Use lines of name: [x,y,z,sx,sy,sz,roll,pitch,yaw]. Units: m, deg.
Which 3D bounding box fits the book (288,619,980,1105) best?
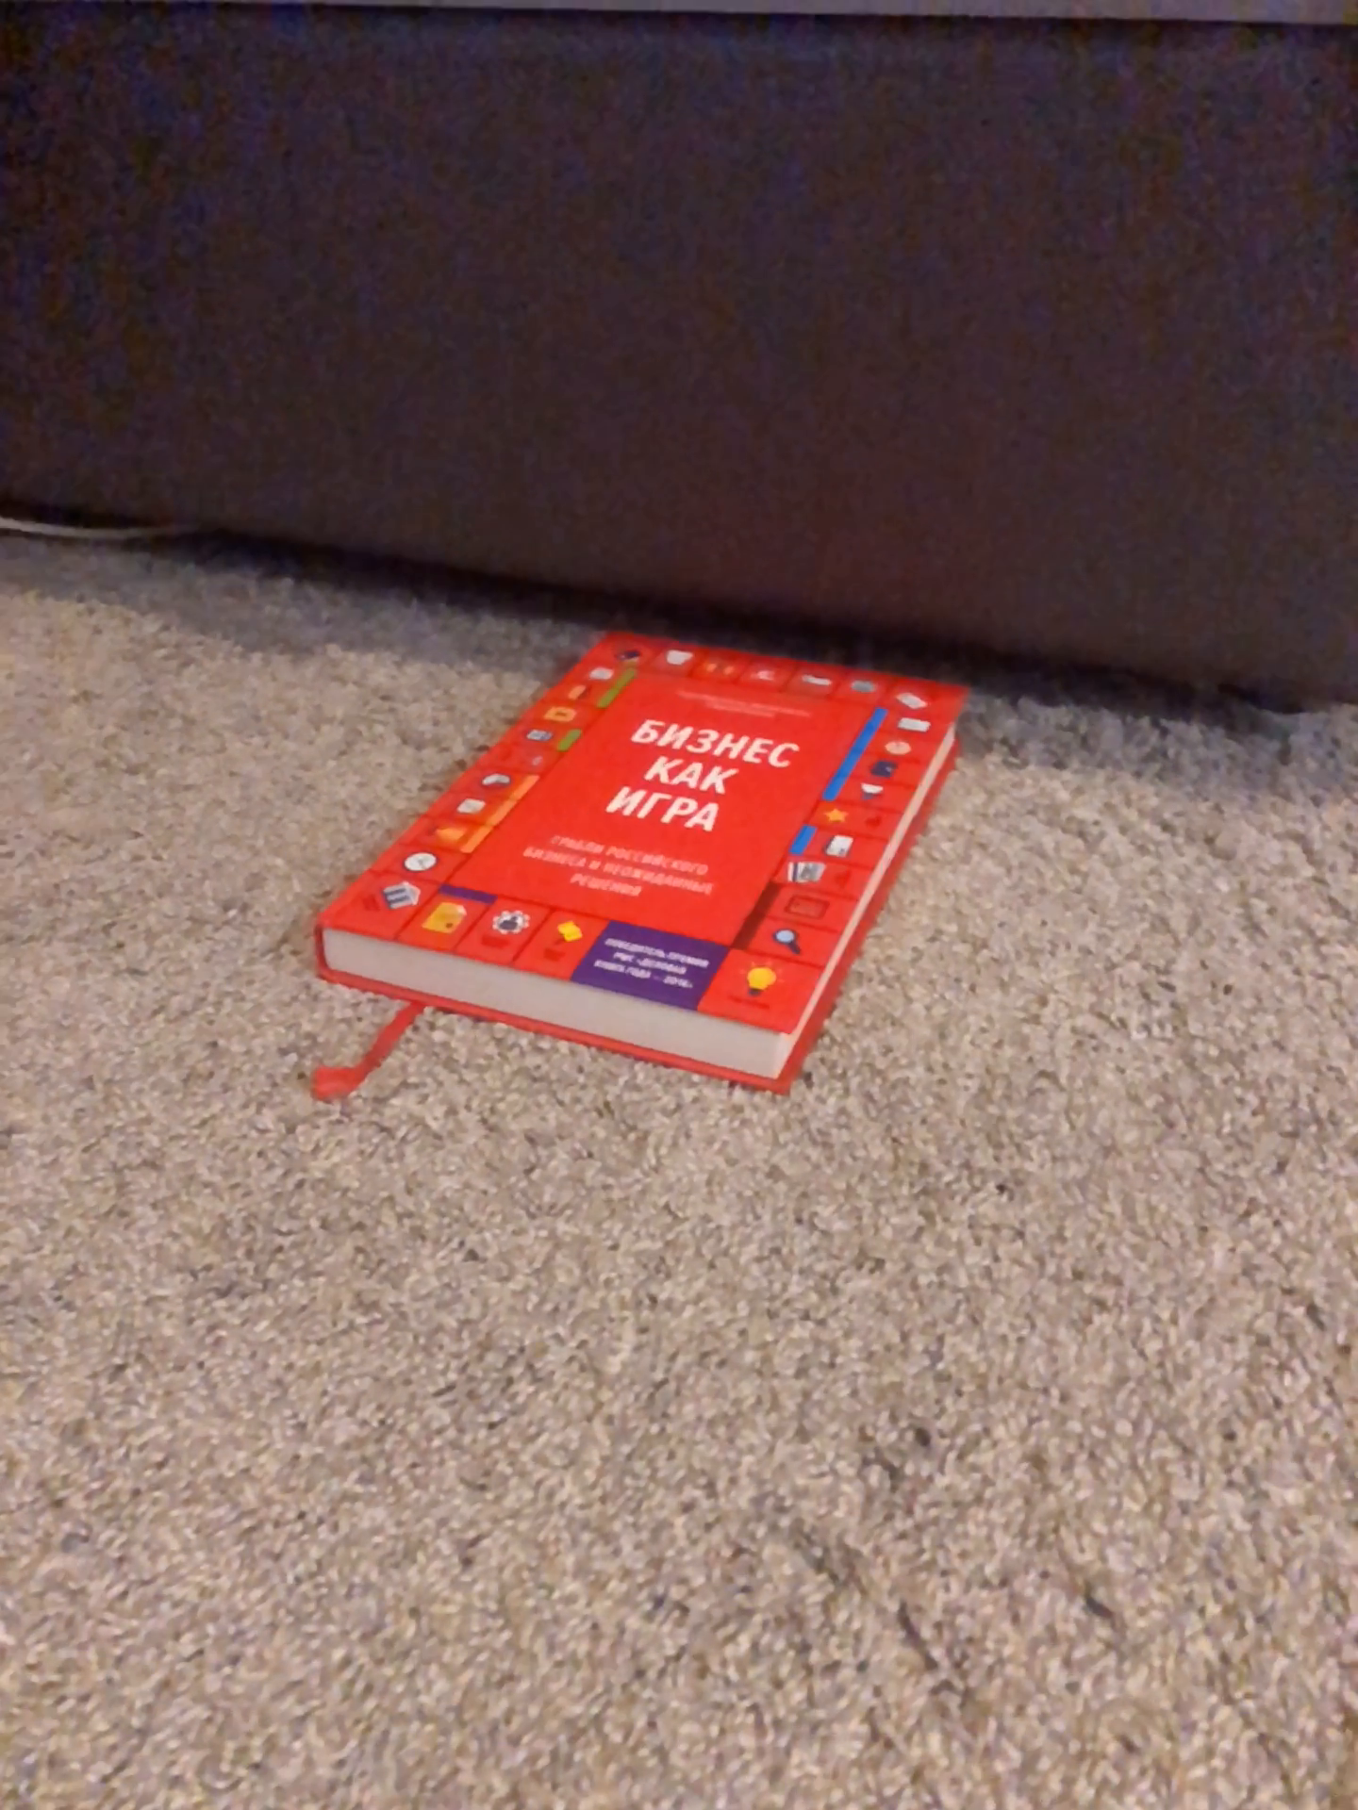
book: [-0.001,-0.035,0.569,0.179,0.033,0.248,12,36,18]
